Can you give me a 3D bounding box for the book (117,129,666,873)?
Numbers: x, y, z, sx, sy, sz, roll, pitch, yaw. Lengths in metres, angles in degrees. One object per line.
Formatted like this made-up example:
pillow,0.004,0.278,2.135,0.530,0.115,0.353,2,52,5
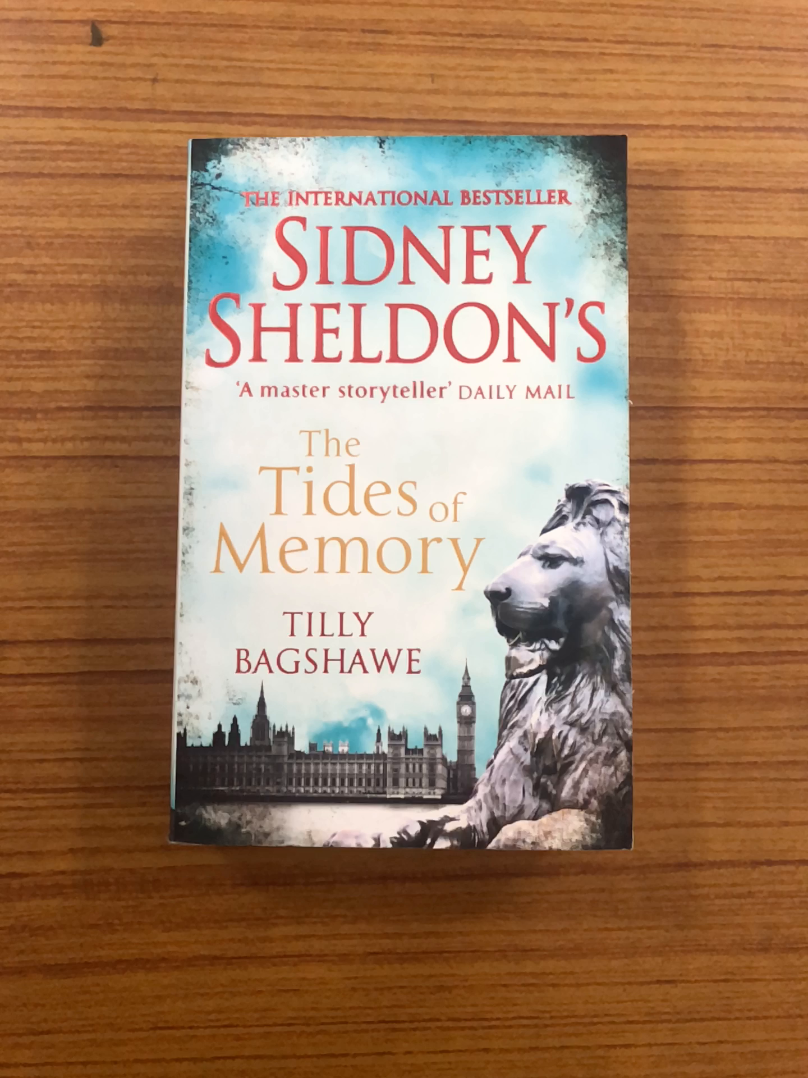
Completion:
book,-0.001,-0.010,0.225,0.122,0.038,0.168,1,86,1
